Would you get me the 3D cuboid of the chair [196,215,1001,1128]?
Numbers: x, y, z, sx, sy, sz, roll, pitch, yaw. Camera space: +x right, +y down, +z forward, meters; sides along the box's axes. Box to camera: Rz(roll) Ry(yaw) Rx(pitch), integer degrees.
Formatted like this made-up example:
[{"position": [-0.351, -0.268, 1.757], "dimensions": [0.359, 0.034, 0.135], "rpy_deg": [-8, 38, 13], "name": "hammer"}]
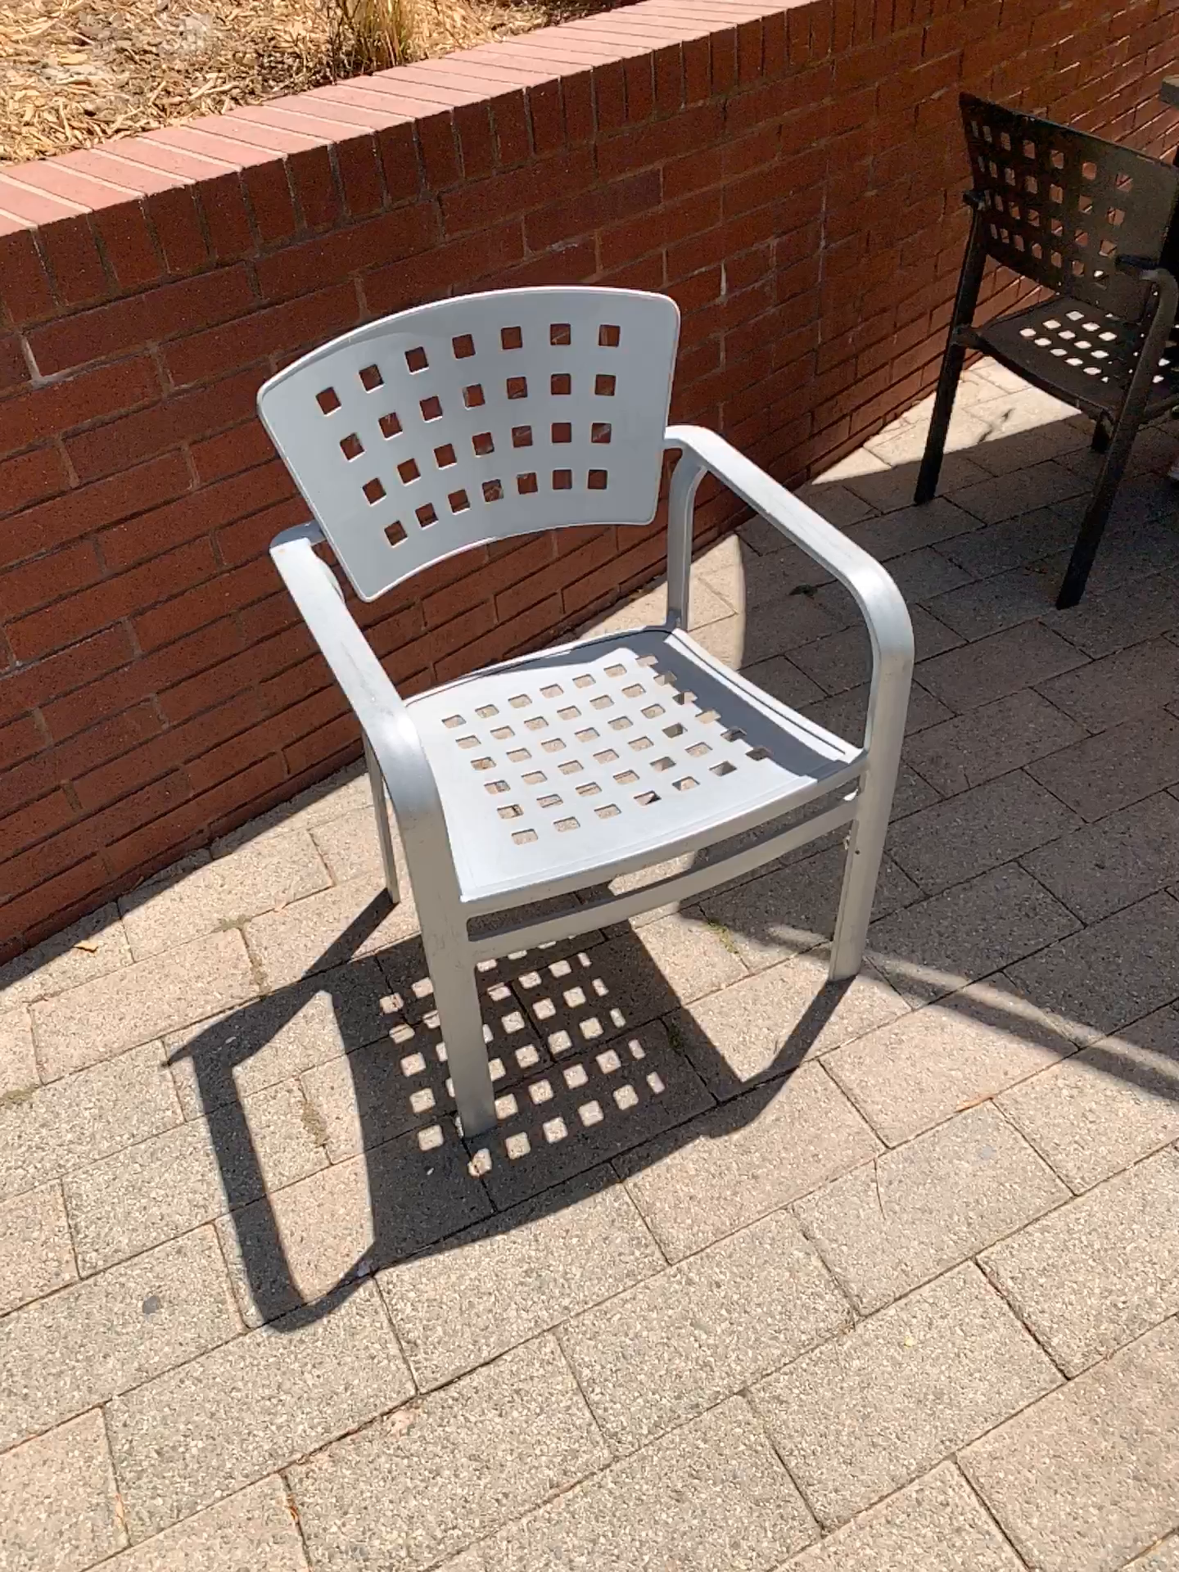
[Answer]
[{"position": [-0.003, -0.135, 1.329], "dimensions": [0.558, 0.698, 0.503], "rpy_deg": [-20, 43, -17], "name": "chair"}]
